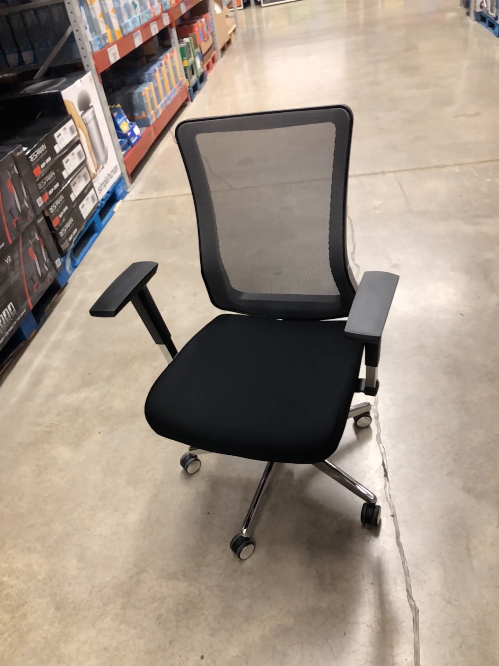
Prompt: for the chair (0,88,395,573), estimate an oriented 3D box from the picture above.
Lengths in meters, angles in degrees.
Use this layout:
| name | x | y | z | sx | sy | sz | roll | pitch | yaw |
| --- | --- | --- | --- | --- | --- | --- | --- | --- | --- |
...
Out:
| name | x | y | z | sx | sy | sz | roll | pitch | yaw |
| --- | --- | --- | --- | --- | --- | --- | --- | --- | --- |
| chair | 0.014 | 0.004 | 1.459 | 0.690 | 0.987 | 0.712 | -1 | 36 | 13 |
